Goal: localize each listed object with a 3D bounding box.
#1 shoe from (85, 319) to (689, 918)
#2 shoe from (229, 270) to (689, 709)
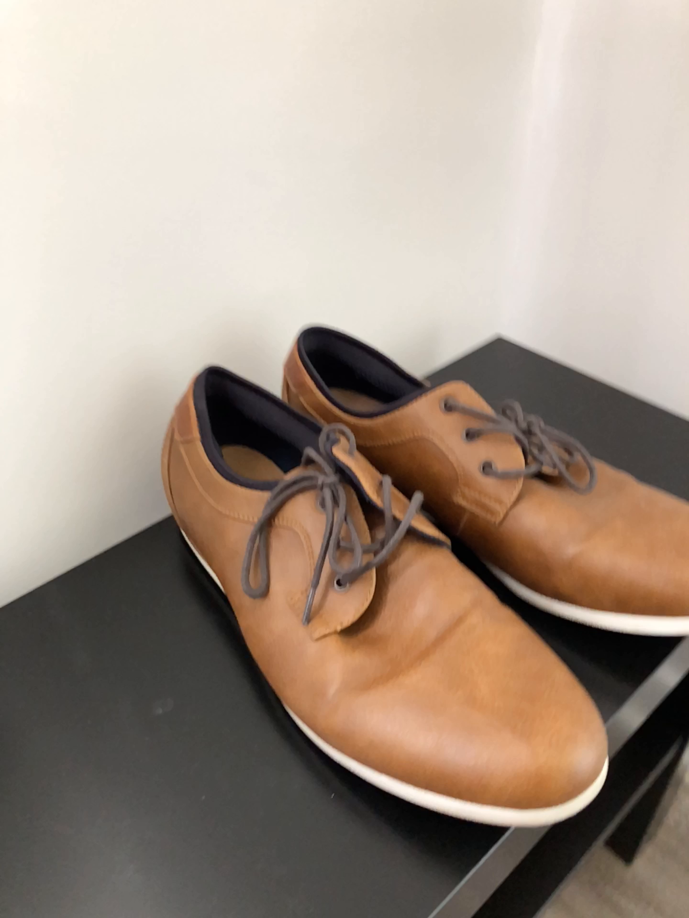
[{"bbox_3d":[-0.005,0.045,0.348,0.104,0.100,0.271,-25,44,-28],"label":"shoe"},{"bbox_3d":[0.075,-0.005,0.423,0.281,0.100,0.104,27,46,32],"label":"shoe"}]
